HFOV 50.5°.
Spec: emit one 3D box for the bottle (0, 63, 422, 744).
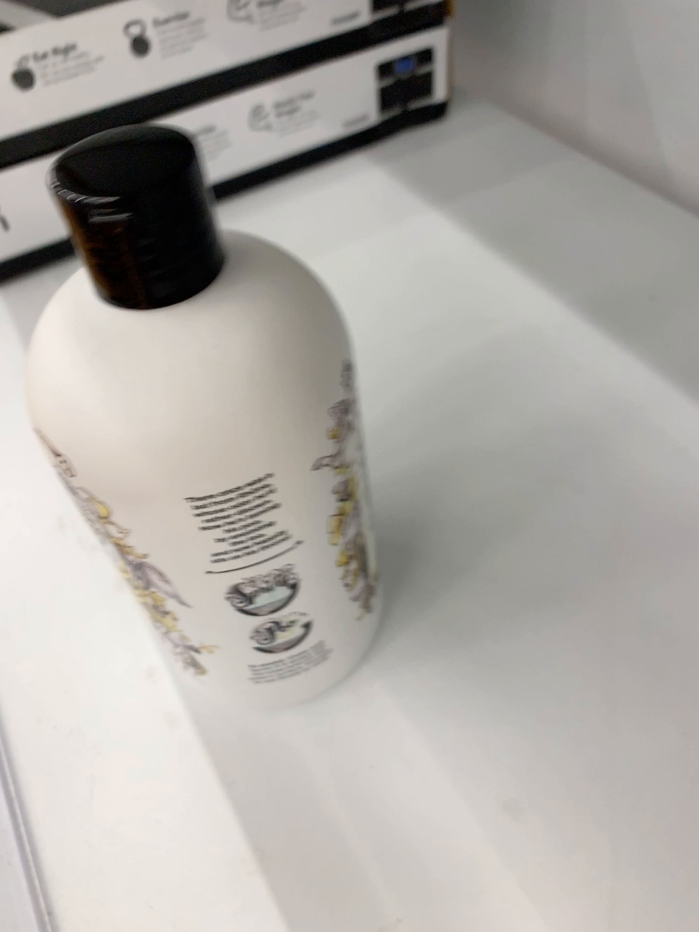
[{"bbox_3d":[-0.030,-0.003,0.193,0.070,0.153,0.073,-3,50,4],"label":"bottle"}]
